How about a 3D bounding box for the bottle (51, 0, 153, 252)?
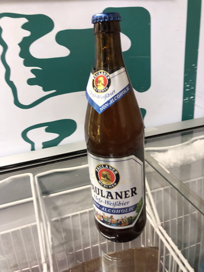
[{"bbox_3d":[0.012,0.000,0.240,0.070,0.238,0.060,5,24,25],"label":"bottle"}]
